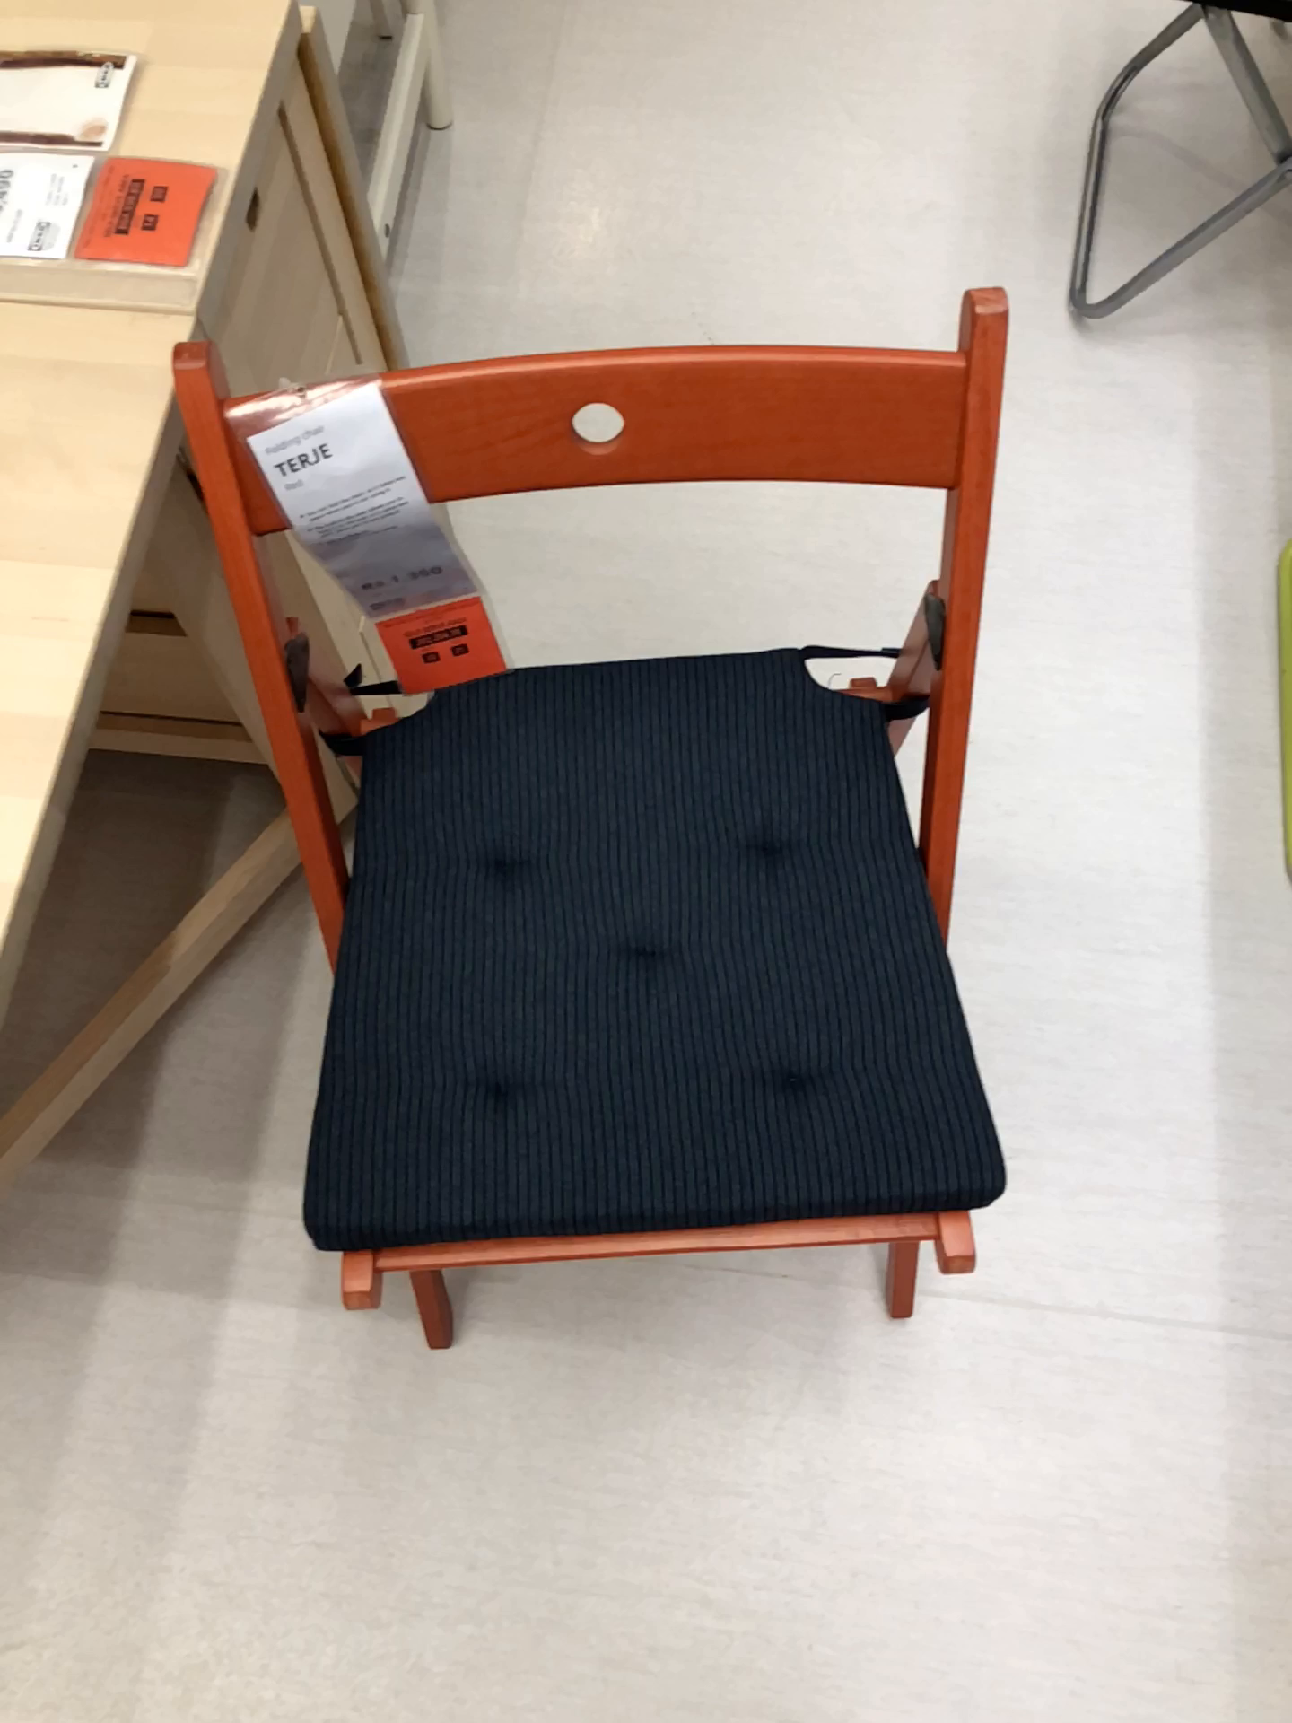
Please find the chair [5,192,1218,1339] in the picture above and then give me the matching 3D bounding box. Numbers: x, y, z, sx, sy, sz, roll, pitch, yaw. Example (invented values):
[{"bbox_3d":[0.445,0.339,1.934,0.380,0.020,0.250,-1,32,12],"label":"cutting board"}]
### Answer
[{"bbox_3d":[-0.013,0.030,0.976,0.470,0.718,0.502,-3,67,1],"label":"chair"}]
